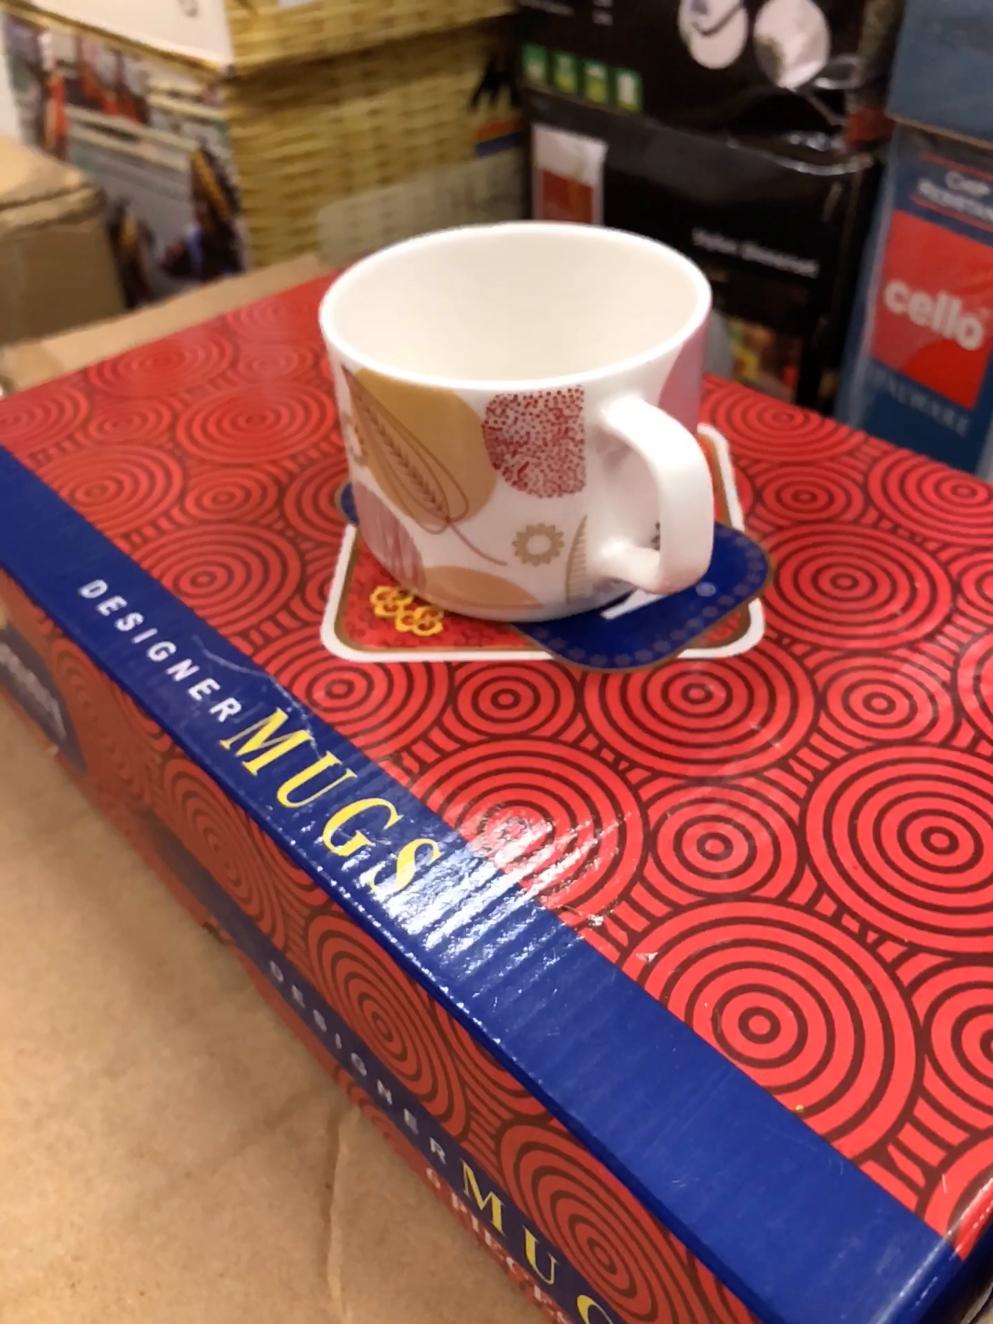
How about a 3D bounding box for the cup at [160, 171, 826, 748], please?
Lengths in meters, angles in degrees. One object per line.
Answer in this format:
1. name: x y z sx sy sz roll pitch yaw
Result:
1. cup: -0.004 -0.043 0.202 0.070 0.050 0.090 -27 48 -27
